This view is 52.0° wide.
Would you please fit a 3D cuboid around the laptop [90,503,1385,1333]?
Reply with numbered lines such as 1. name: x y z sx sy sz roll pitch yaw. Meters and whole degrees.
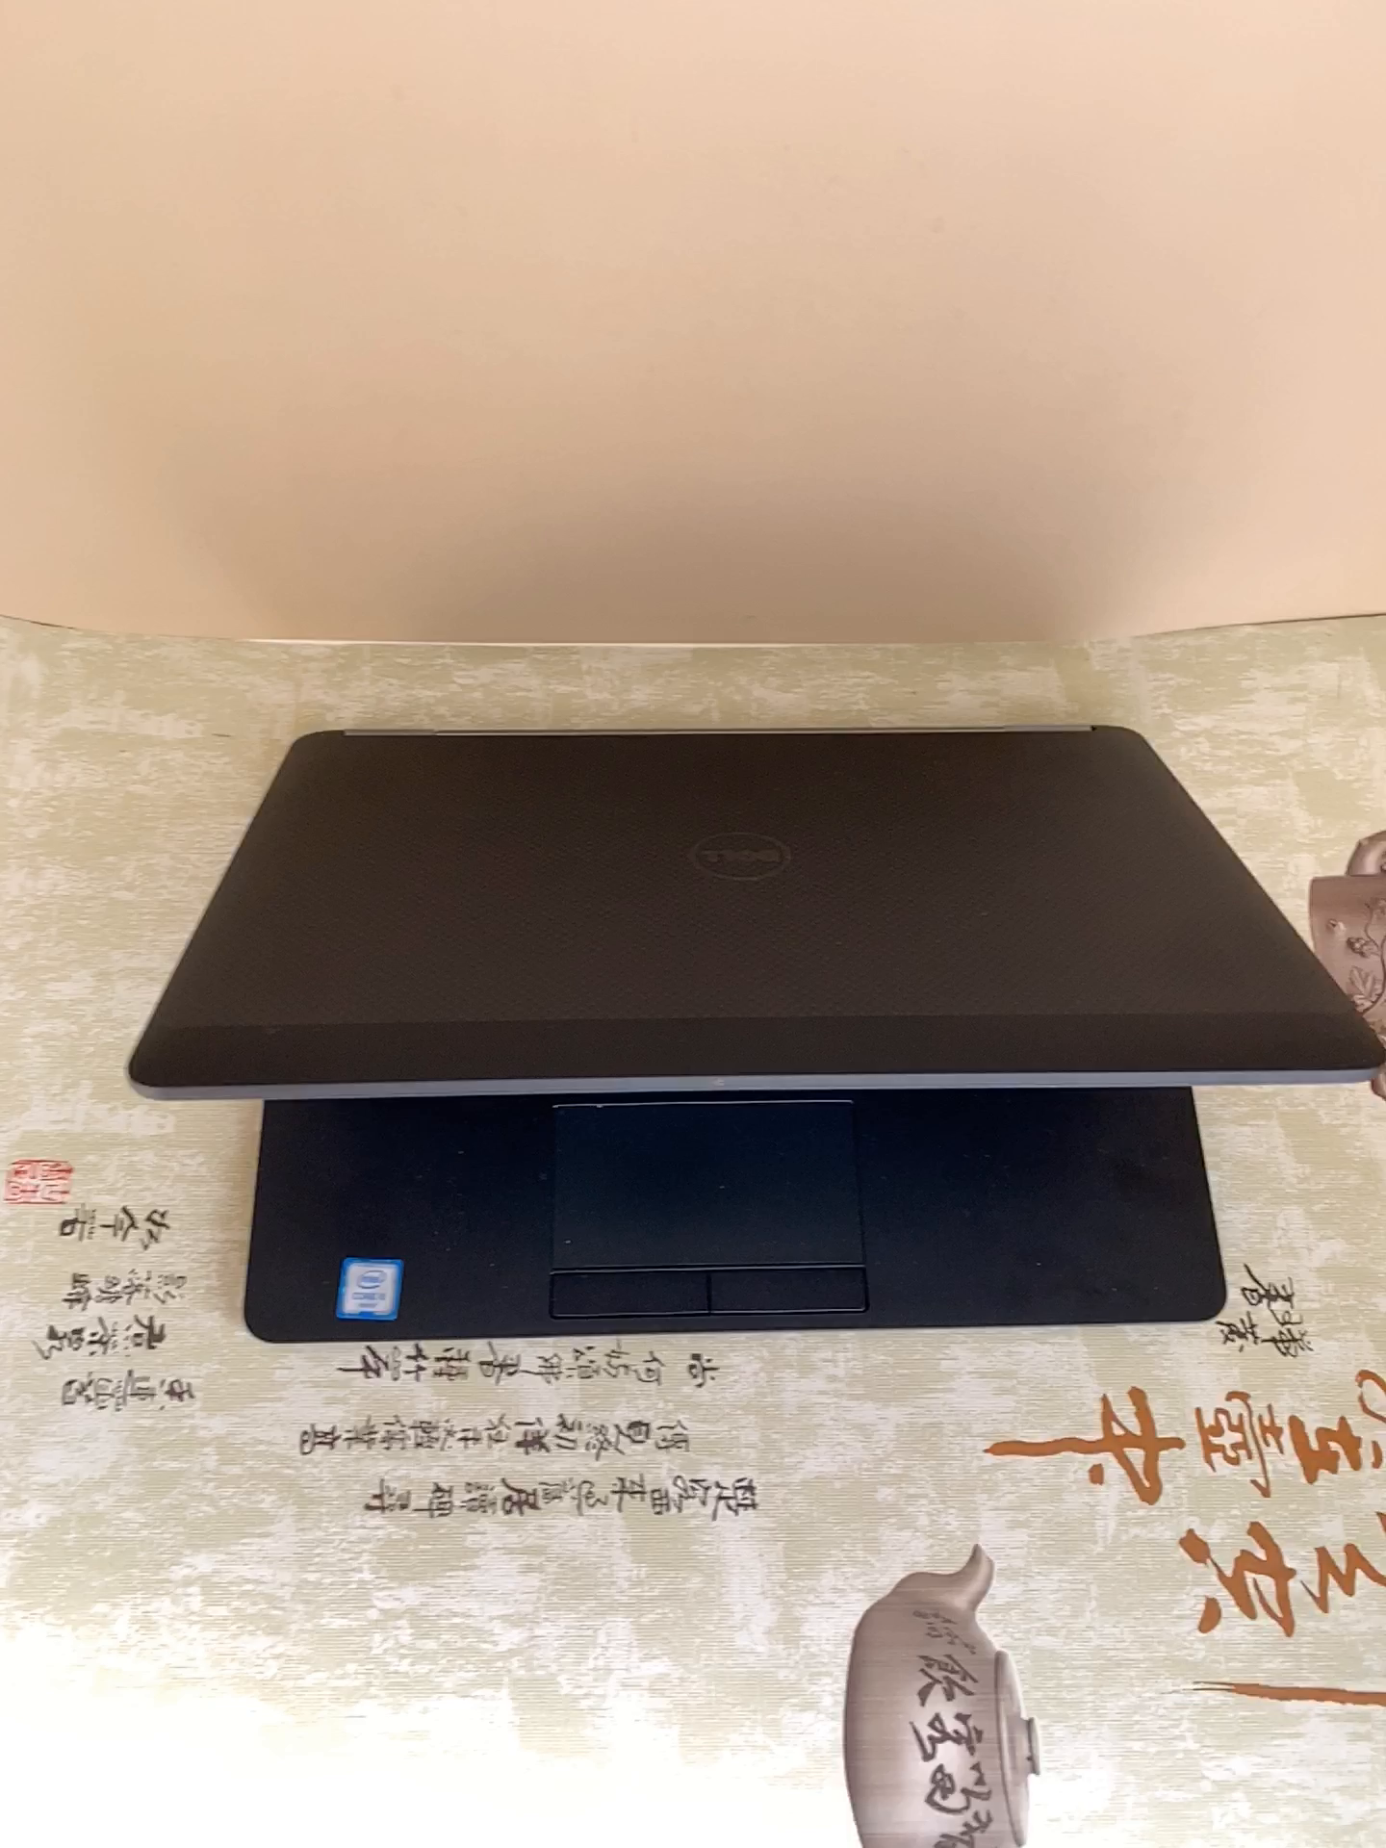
1. laptop: 0.015 0.002 0.428 0.308 0.136 0.212 -1 66 -2
